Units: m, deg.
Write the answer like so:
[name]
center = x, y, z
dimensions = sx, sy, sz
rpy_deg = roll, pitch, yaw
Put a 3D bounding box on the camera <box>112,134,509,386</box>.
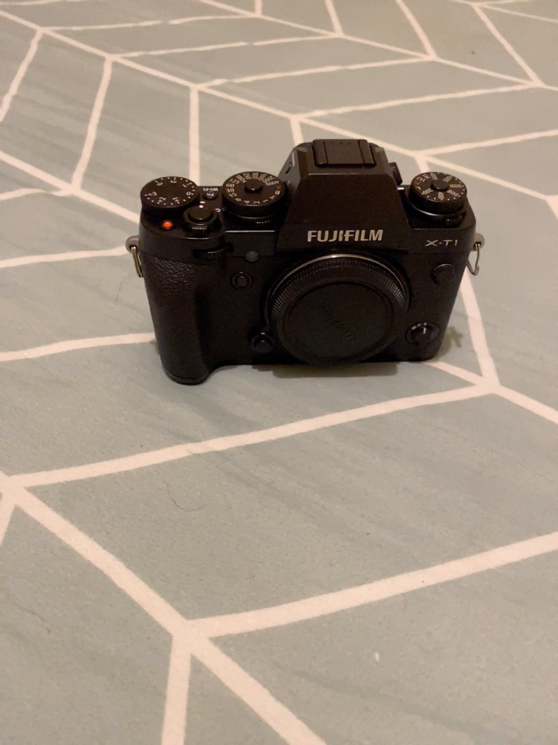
[camera]
center = 0.010, -0.043, 0.239
dimensions = 0.130, 0.087, 0.052
rpy_deg = -1, 49, -2
